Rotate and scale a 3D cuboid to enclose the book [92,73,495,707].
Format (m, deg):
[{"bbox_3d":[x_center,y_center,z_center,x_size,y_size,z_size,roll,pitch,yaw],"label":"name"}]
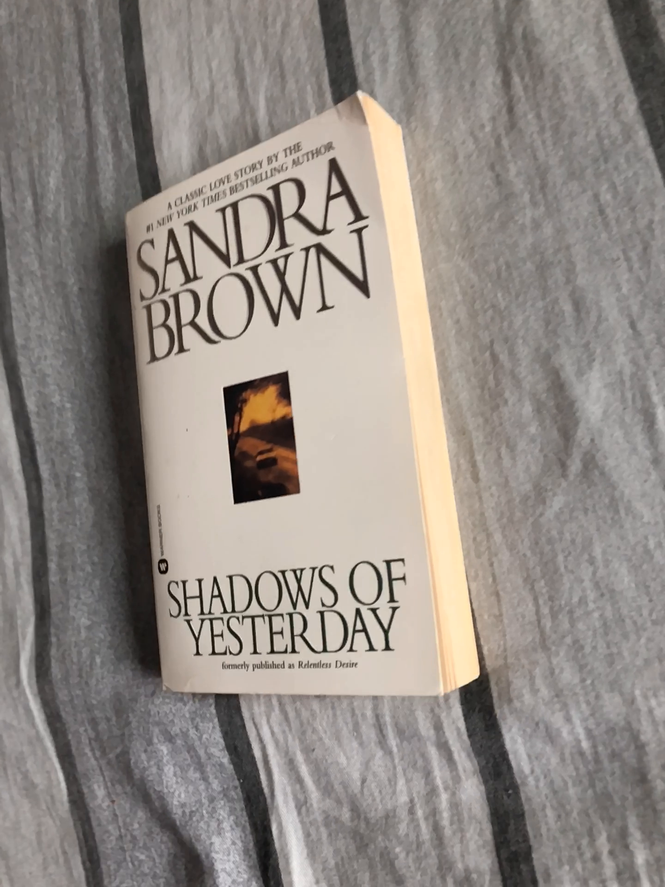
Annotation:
[{"bbox_3d":[-0.020,-0.010,0.246,0.120,0.030,0.180,-9,82,27],"label":"book"}]
